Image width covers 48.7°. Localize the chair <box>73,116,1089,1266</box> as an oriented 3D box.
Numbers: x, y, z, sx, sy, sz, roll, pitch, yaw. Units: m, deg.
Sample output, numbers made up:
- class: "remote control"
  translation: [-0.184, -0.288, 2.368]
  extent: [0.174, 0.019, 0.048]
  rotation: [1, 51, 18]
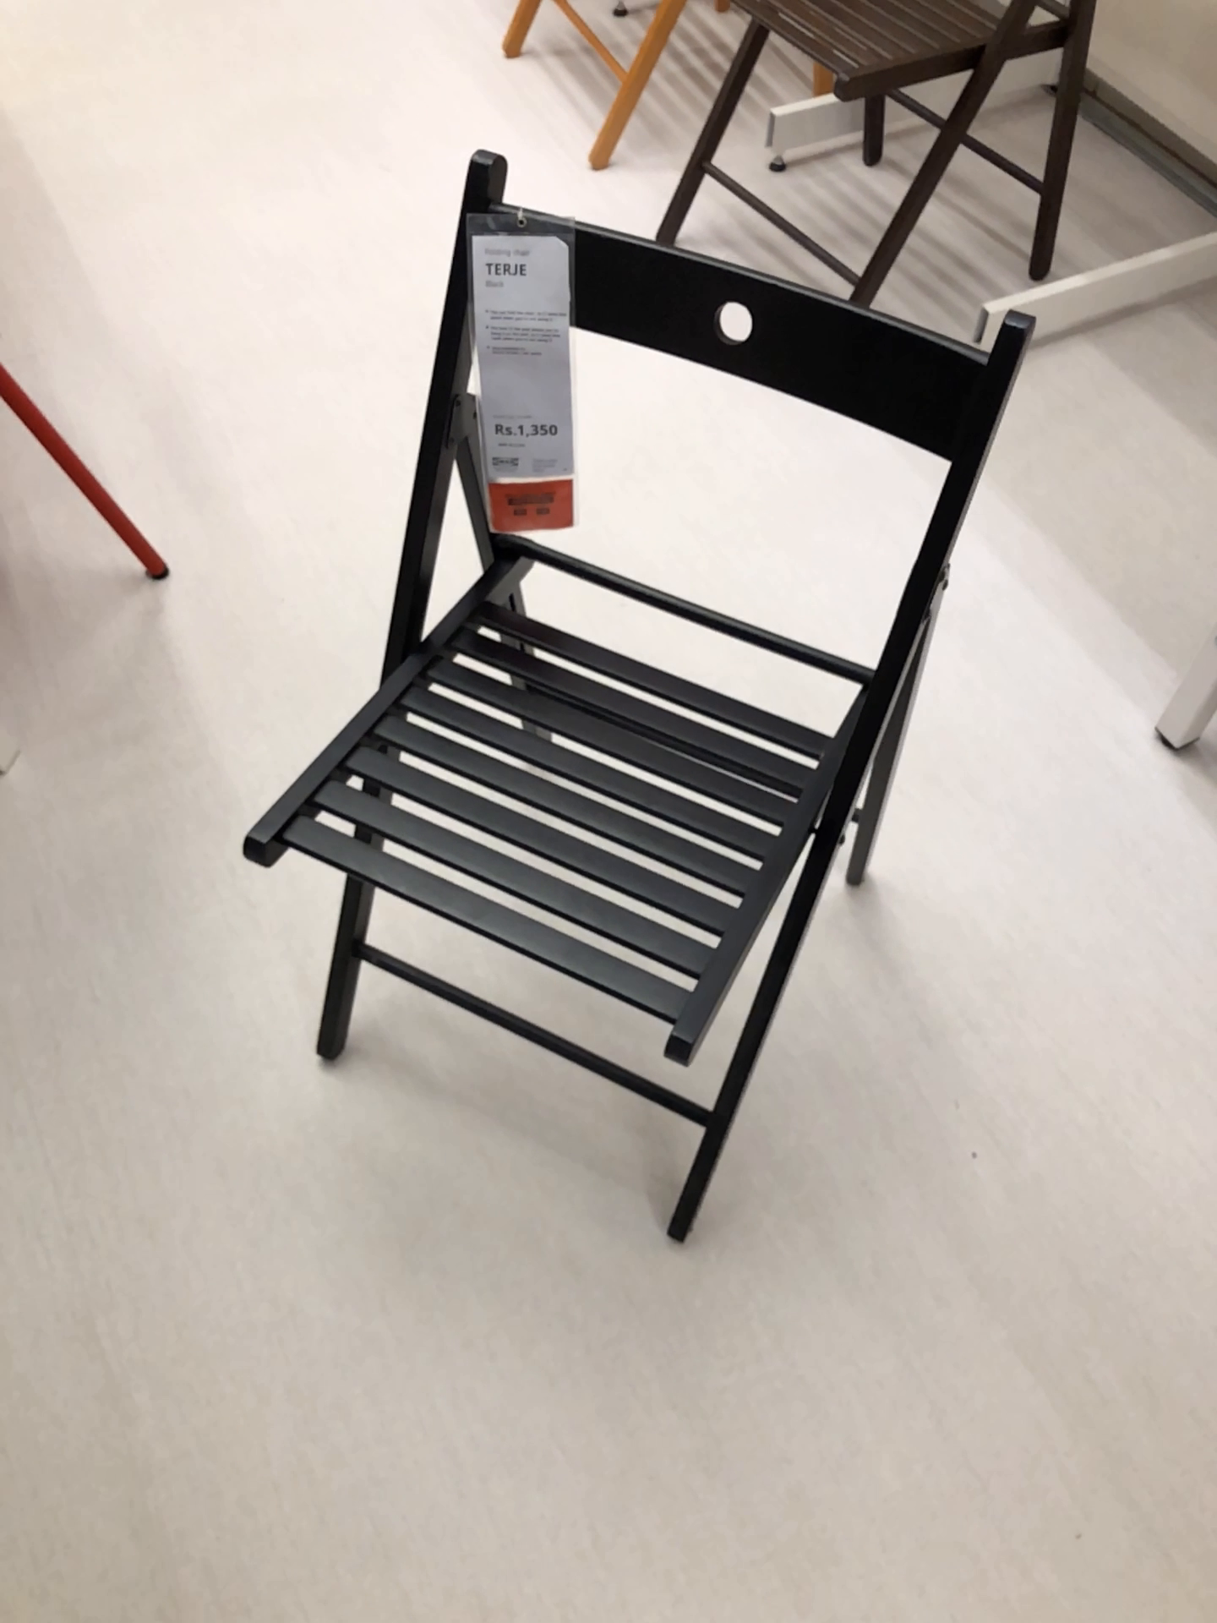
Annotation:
- class: "chair"
  translation: [0.004, -0.047, 1.113]
  extent: [0.440, 0.726, 0.482]
  rotation: [24, 59, 14]
